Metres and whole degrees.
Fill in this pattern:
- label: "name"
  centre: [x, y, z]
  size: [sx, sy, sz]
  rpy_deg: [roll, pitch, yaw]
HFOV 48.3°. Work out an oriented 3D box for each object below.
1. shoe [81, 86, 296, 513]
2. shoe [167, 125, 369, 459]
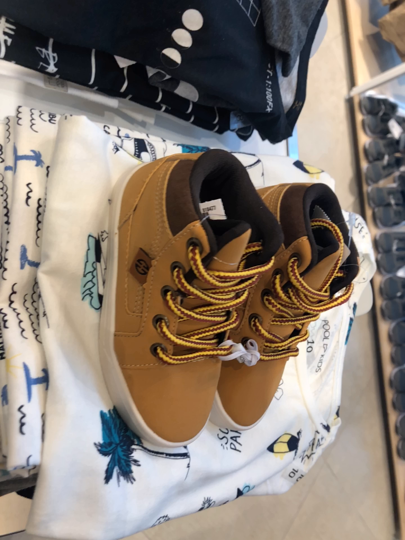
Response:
- label: "shoe"
  centre: [-0.011, 0.012, 0.237]
  size: [0.070, 0.089, 0.170]
  rpy_deg: [1, 87, -38]
- label: "shoe"
  centre: [0.041, 0.015, 0.283]
  size: [0.070, 0.089, 0.170]
  rpy_deg: [13, 78, -36]
